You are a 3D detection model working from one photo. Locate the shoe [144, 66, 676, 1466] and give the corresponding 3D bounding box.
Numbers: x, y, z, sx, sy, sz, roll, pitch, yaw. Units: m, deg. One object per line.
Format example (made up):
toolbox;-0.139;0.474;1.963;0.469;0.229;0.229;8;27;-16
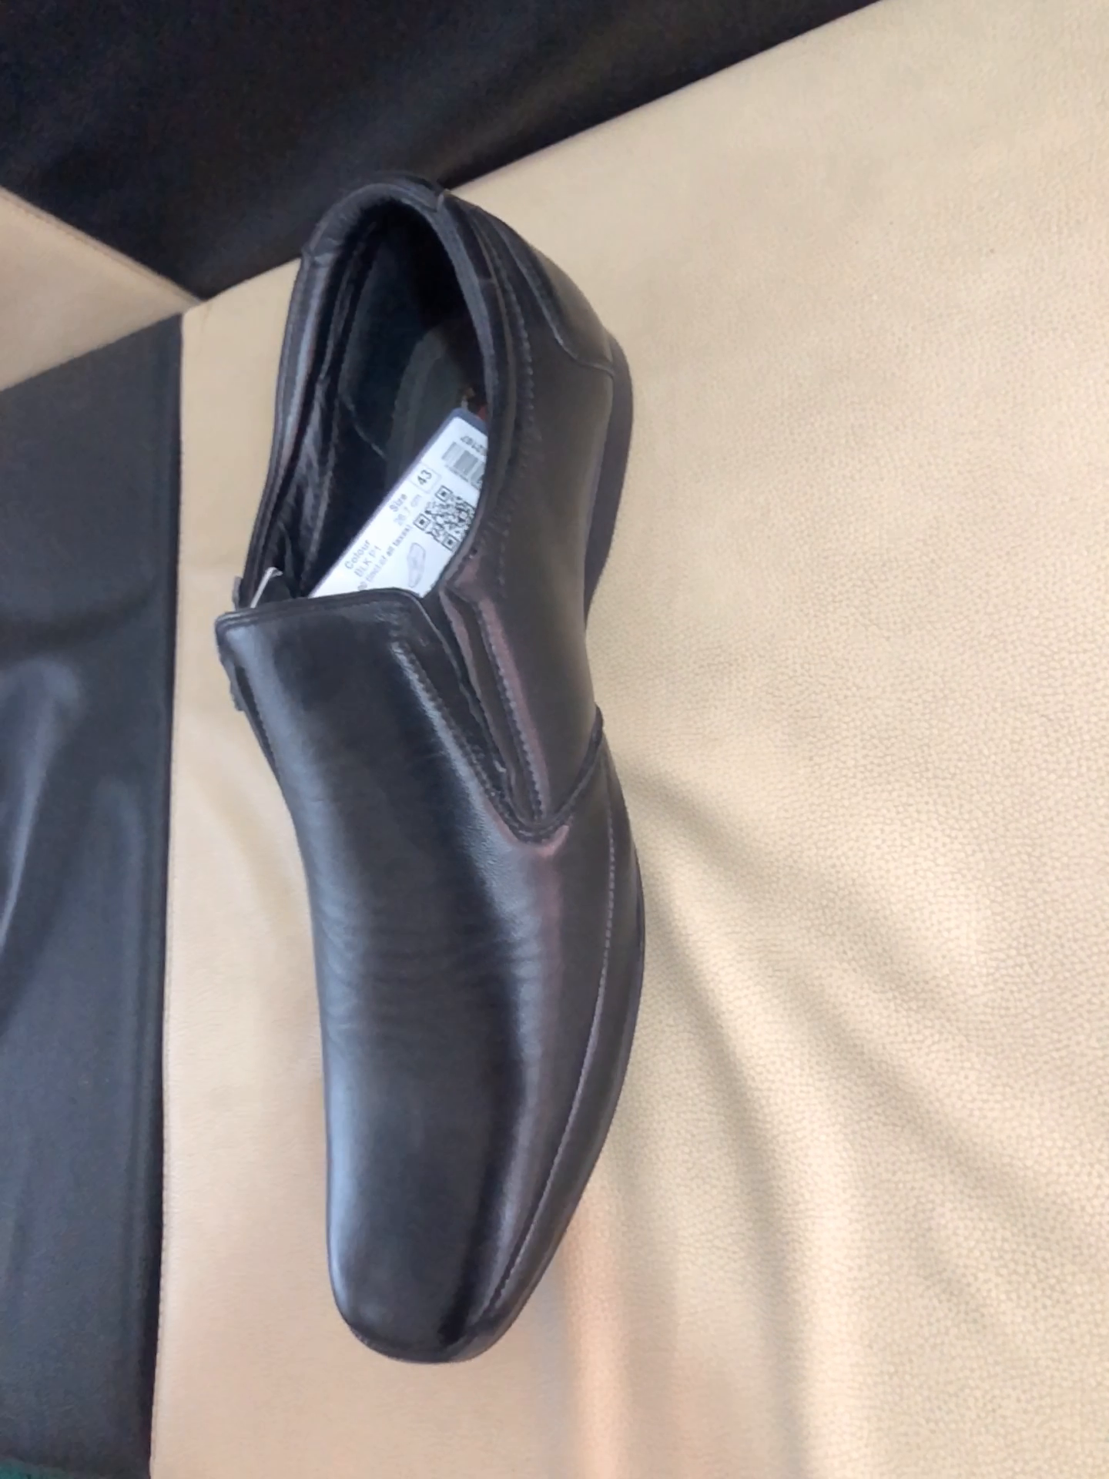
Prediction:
shoe;-0.033;0.001;0.343;0.100;0.090;0.320;-5;79;33
